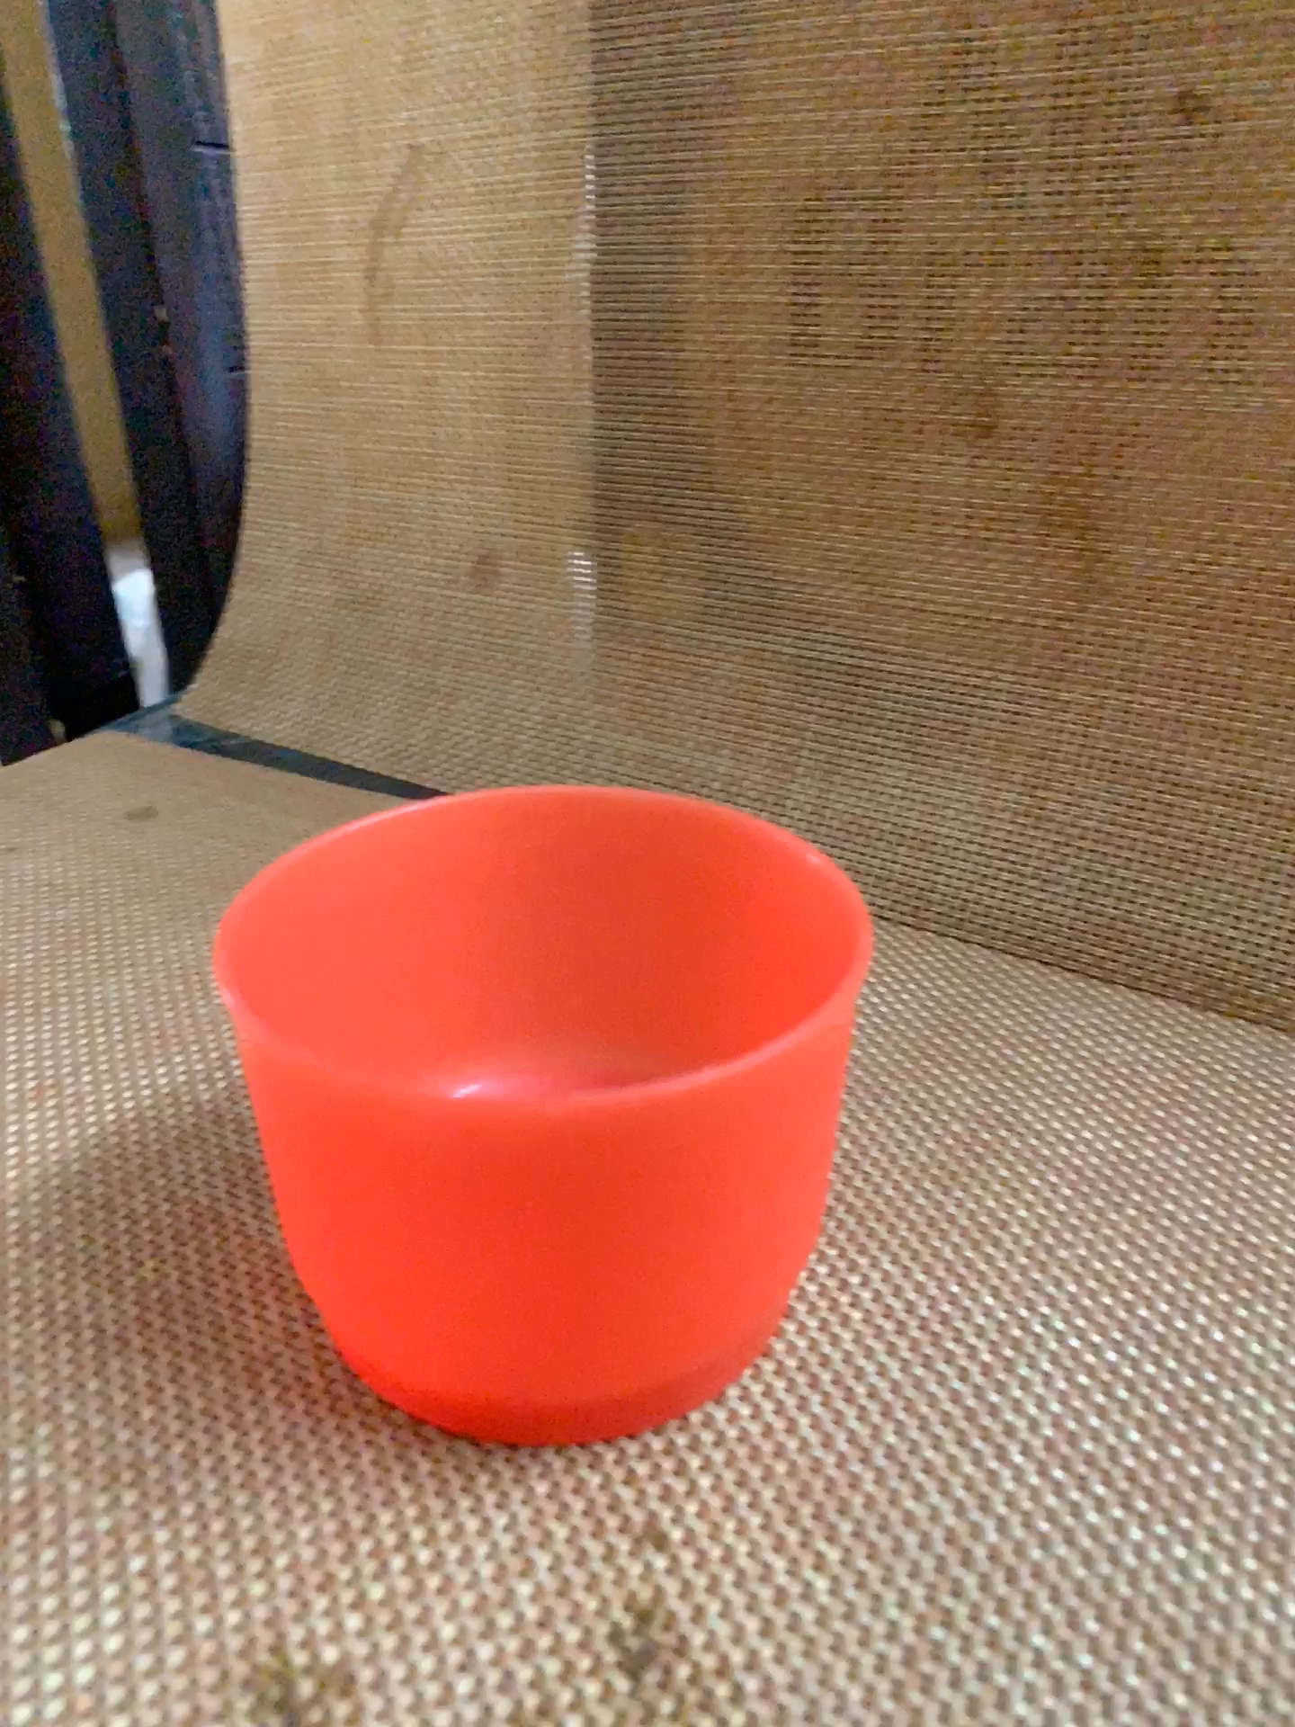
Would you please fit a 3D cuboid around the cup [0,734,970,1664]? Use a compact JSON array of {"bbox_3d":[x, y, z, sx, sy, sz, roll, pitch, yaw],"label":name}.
[{"bbox_3d":[-0.013,0.027,0.158,0.081,0.050,0.079,0,26,0],"label":"cup"}]
